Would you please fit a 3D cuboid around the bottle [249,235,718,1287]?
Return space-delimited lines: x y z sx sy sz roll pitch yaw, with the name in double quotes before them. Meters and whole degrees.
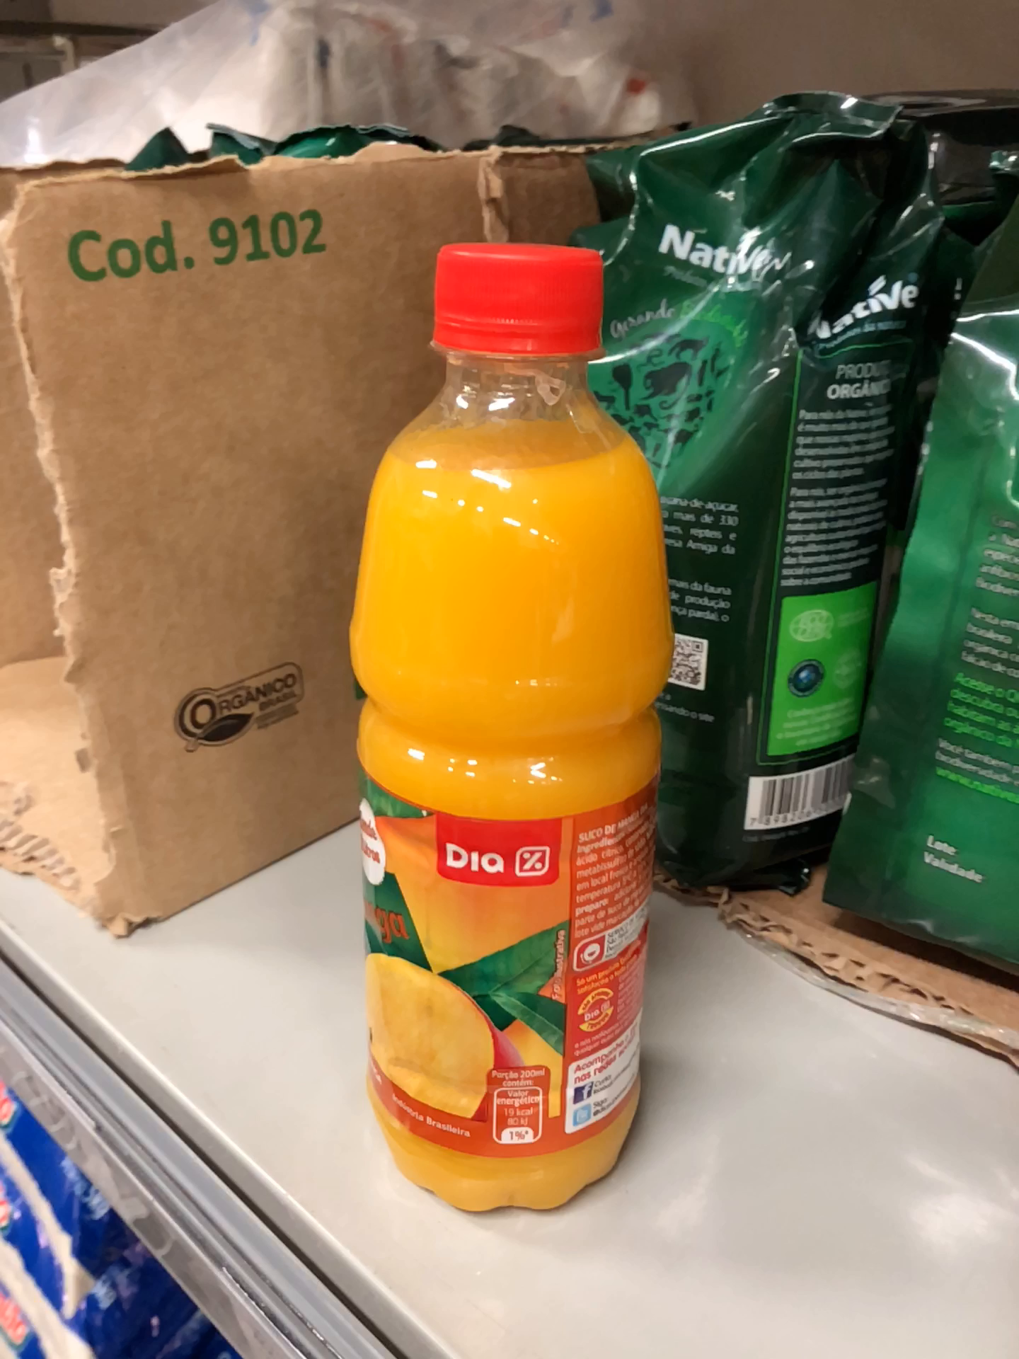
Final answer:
"bottle" -0.006 0.017 0.237 0.060 0.199 0.070 -11 25 -20
